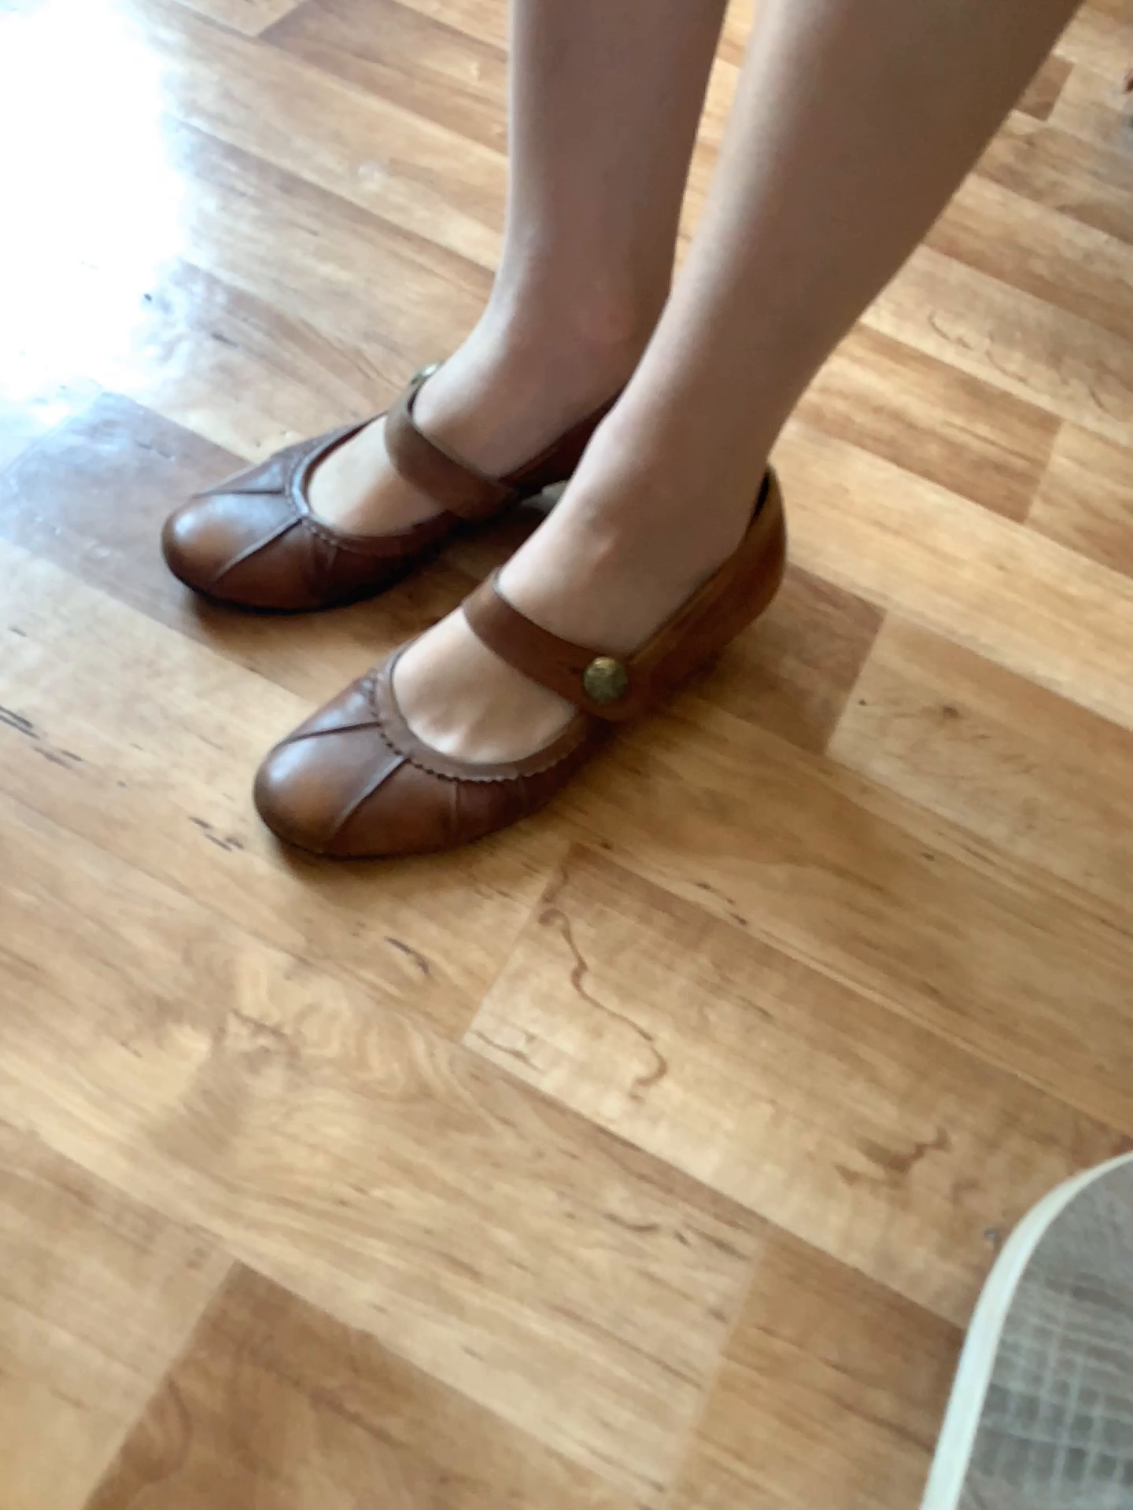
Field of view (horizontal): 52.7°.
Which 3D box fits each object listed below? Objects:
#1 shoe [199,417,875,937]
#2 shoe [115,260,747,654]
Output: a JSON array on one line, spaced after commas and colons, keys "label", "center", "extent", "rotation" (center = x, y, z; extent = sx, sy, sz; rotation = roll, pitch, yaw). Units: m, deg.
[{"label": "shoe", "center": [-0.008, -0.038, 0.471], "extent": [0.250, 0.090, 0.090], "rotation": [-27, 68, -24]}, {"label": "shoe", "center": [-0.058, -0.140, 0.521], "extent": [0.250, 0.090, 0.090], "rotation": [-18, 65, -20]}]
